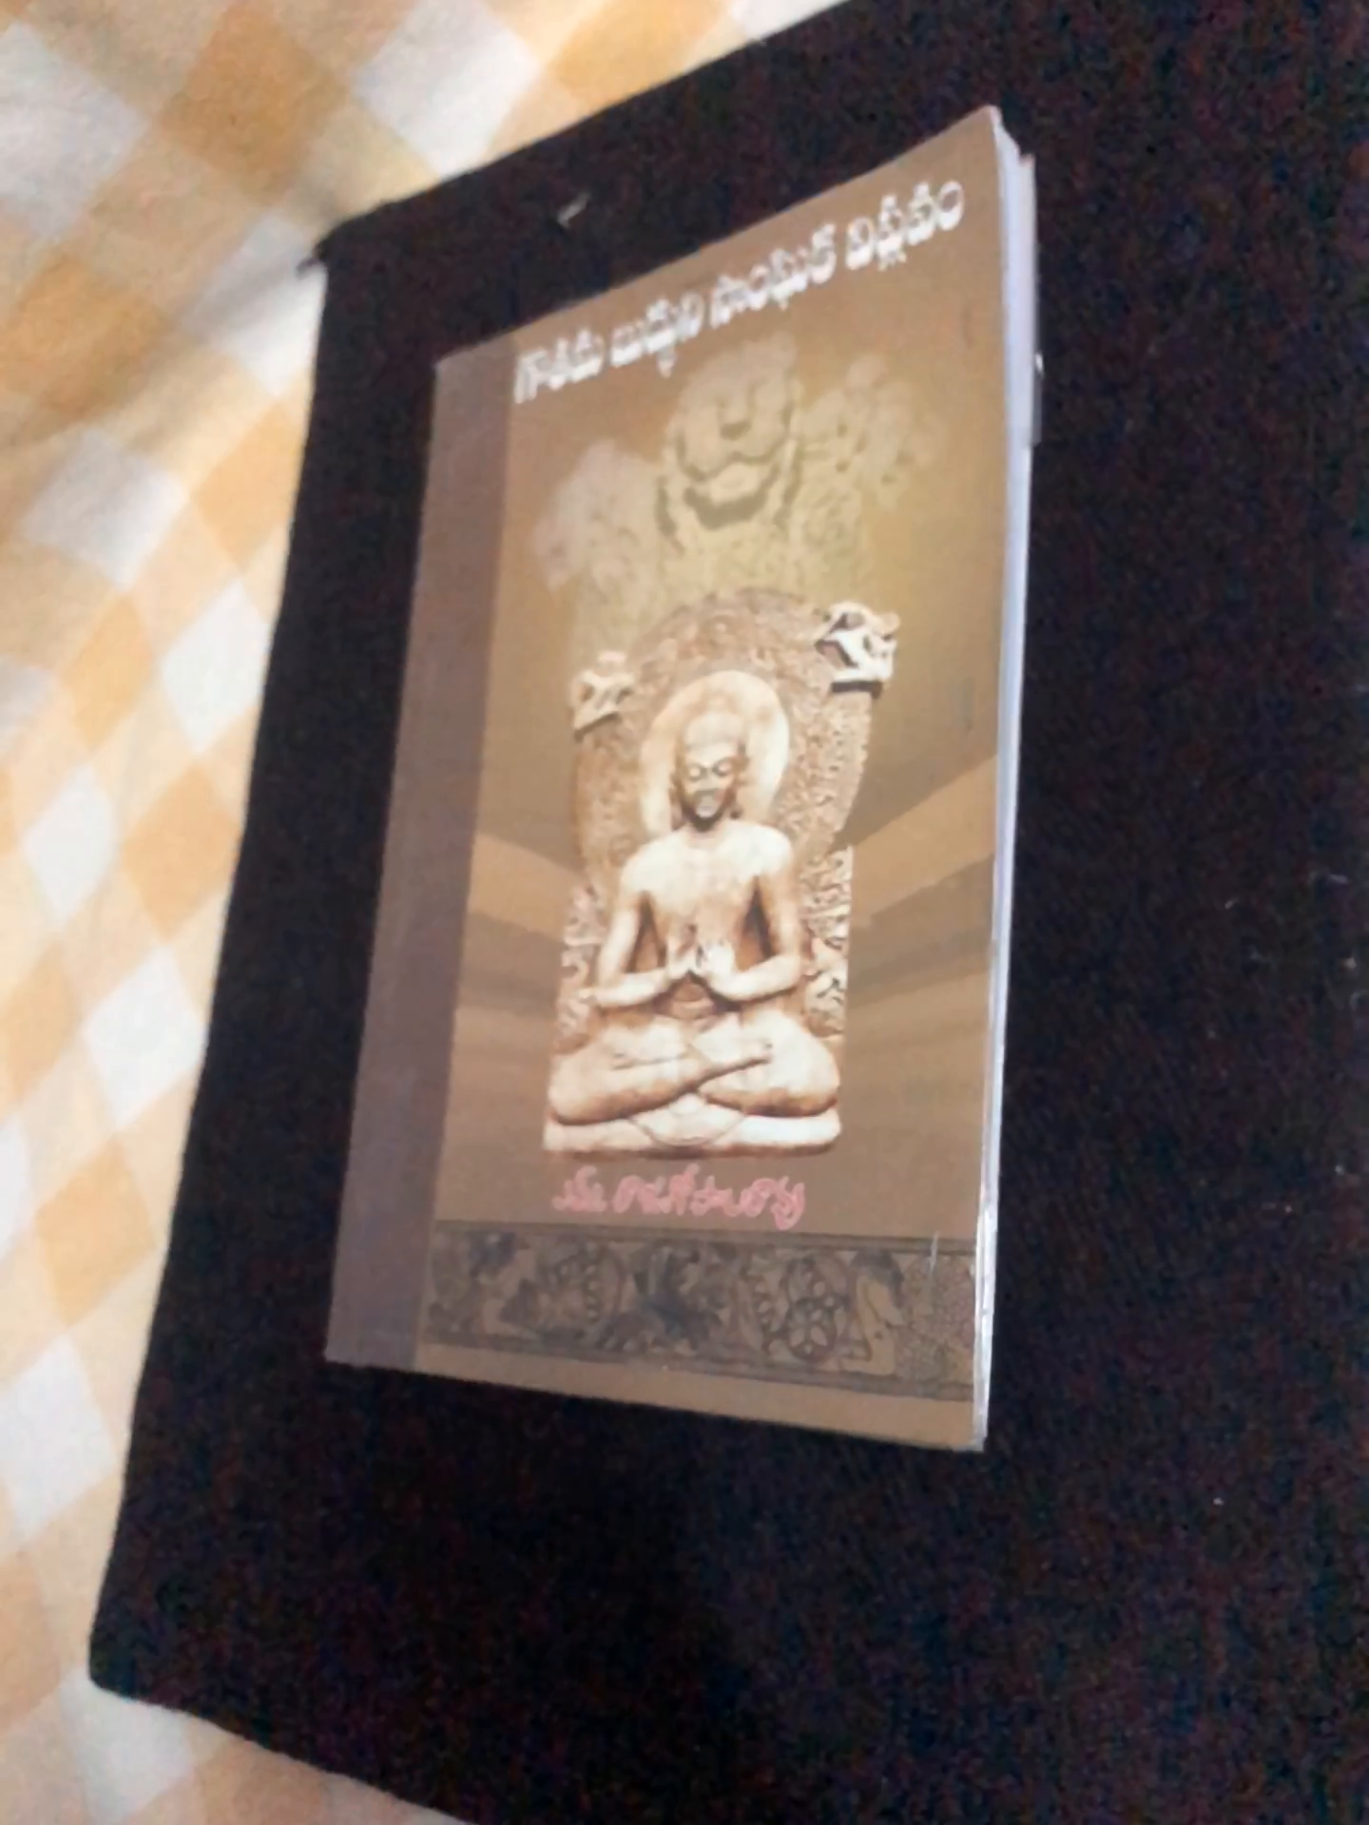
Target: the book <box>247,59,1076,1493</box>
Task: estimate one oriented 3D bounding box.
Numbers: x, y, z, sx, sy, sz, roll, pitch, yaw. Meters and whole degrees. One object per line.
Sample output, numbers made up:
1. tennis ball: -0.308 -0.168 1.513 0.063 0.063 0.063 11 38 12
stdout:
1. book: -0.005 -0.025 0.281 0.150 0.020 0.230 -7 70 35
